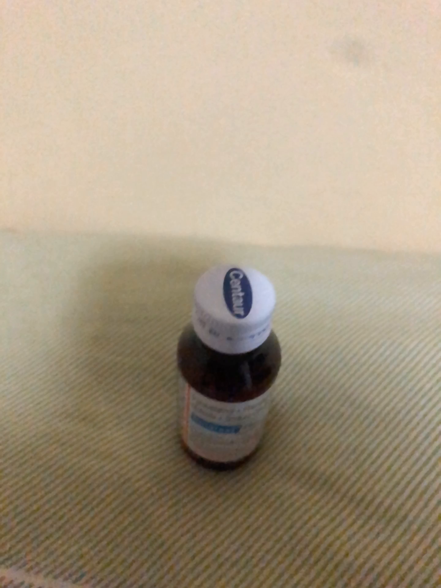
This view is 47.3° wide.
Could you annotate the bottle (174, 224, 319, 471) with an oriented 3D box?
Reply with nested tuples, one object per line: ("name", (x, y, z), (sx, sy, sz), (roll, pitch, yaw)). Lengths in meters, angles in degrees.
("bottle", (0.003, 0.026, 0.188), (0.040, 0.100, 0.040), (2, 48, -2))
